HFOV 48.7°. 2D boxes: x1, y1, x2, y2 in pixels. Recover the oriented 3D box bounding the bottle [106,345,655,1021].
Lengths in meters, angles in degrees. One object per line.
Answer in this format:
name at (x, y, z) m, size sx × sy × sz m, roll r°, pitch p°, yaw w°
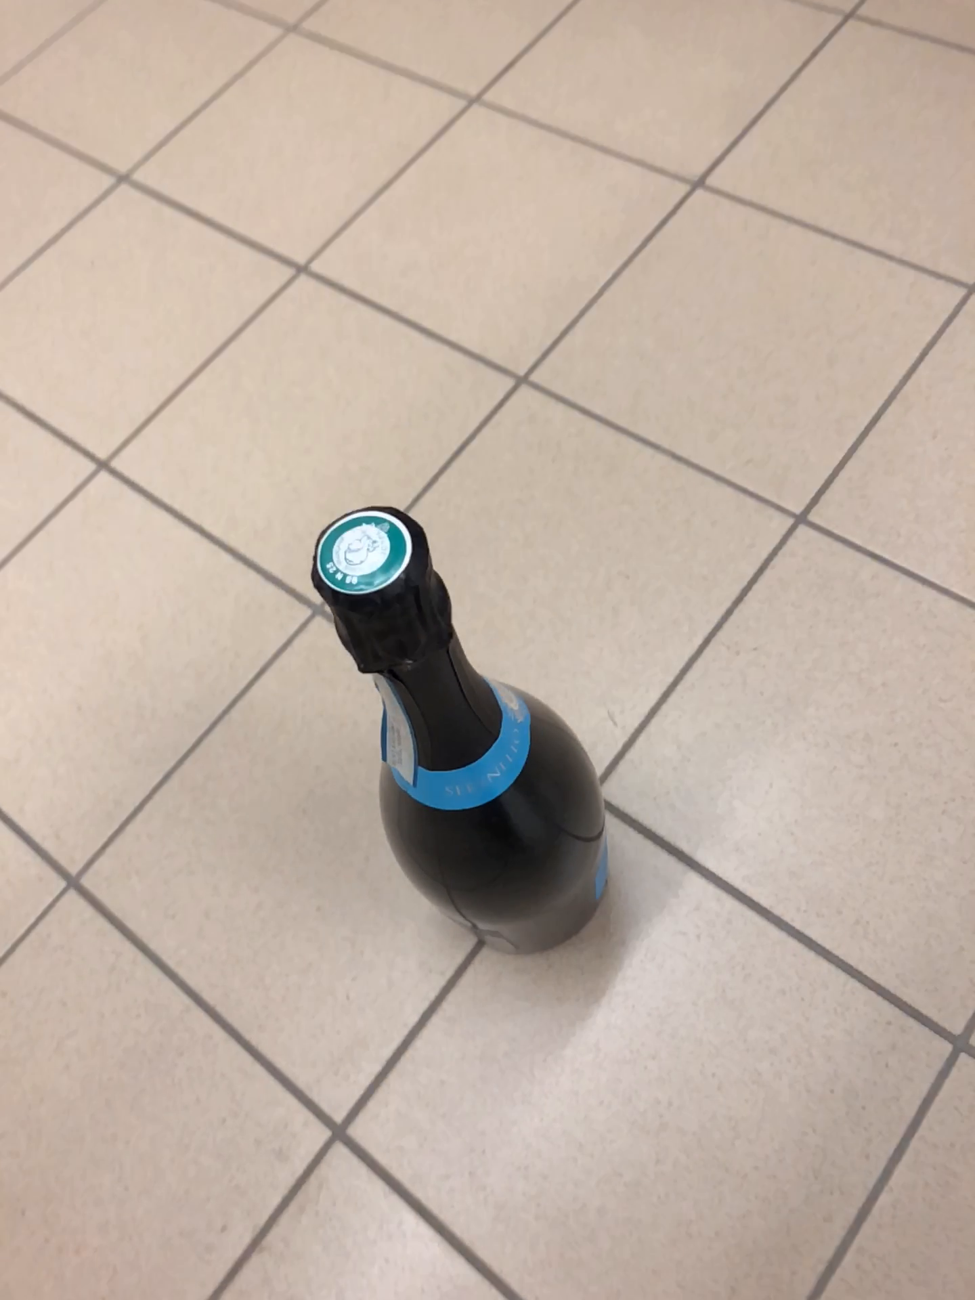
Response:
bottle at (-0.011, 0.044, 0.397) m, size 0.090 × 0.299 × 0.100 m, roll -35°, pitch 62°, yaw -8°
